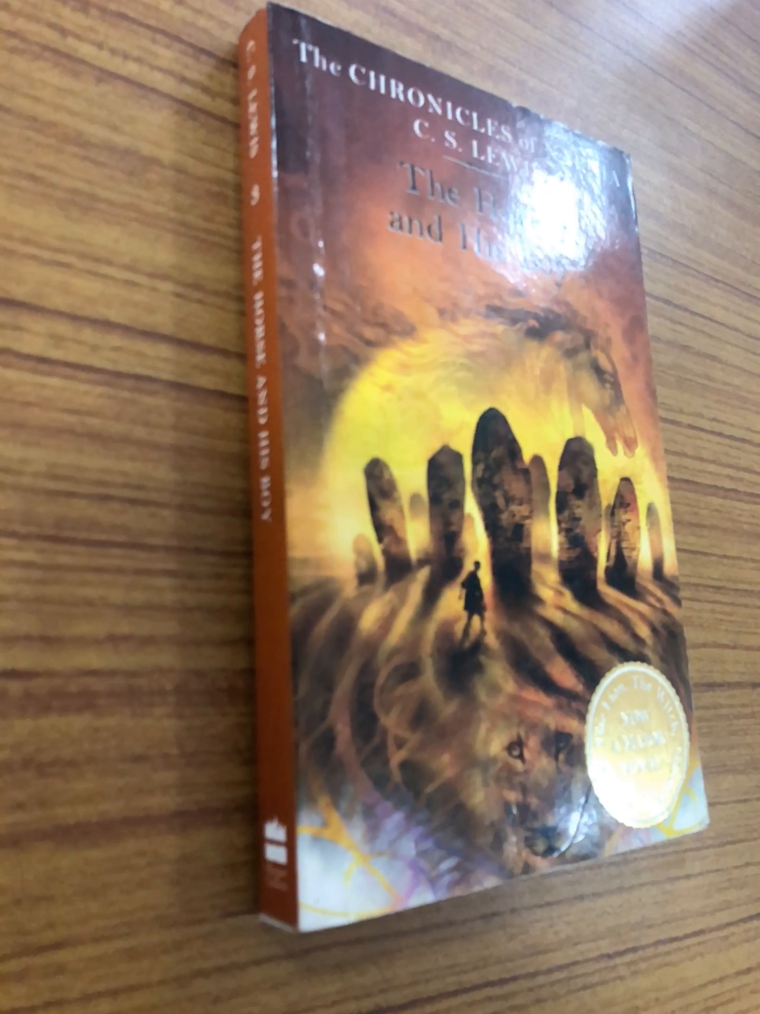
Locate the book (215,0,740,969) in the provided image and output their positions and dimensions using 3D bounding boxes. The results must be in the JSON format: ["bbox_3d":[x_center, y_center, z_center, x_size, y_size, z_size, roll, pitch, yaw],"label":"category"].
[{"bbox_3d":[0.025,-0.013,0.186,0.120,0.020,0.180,4,78,-35],"label":"book"}]
